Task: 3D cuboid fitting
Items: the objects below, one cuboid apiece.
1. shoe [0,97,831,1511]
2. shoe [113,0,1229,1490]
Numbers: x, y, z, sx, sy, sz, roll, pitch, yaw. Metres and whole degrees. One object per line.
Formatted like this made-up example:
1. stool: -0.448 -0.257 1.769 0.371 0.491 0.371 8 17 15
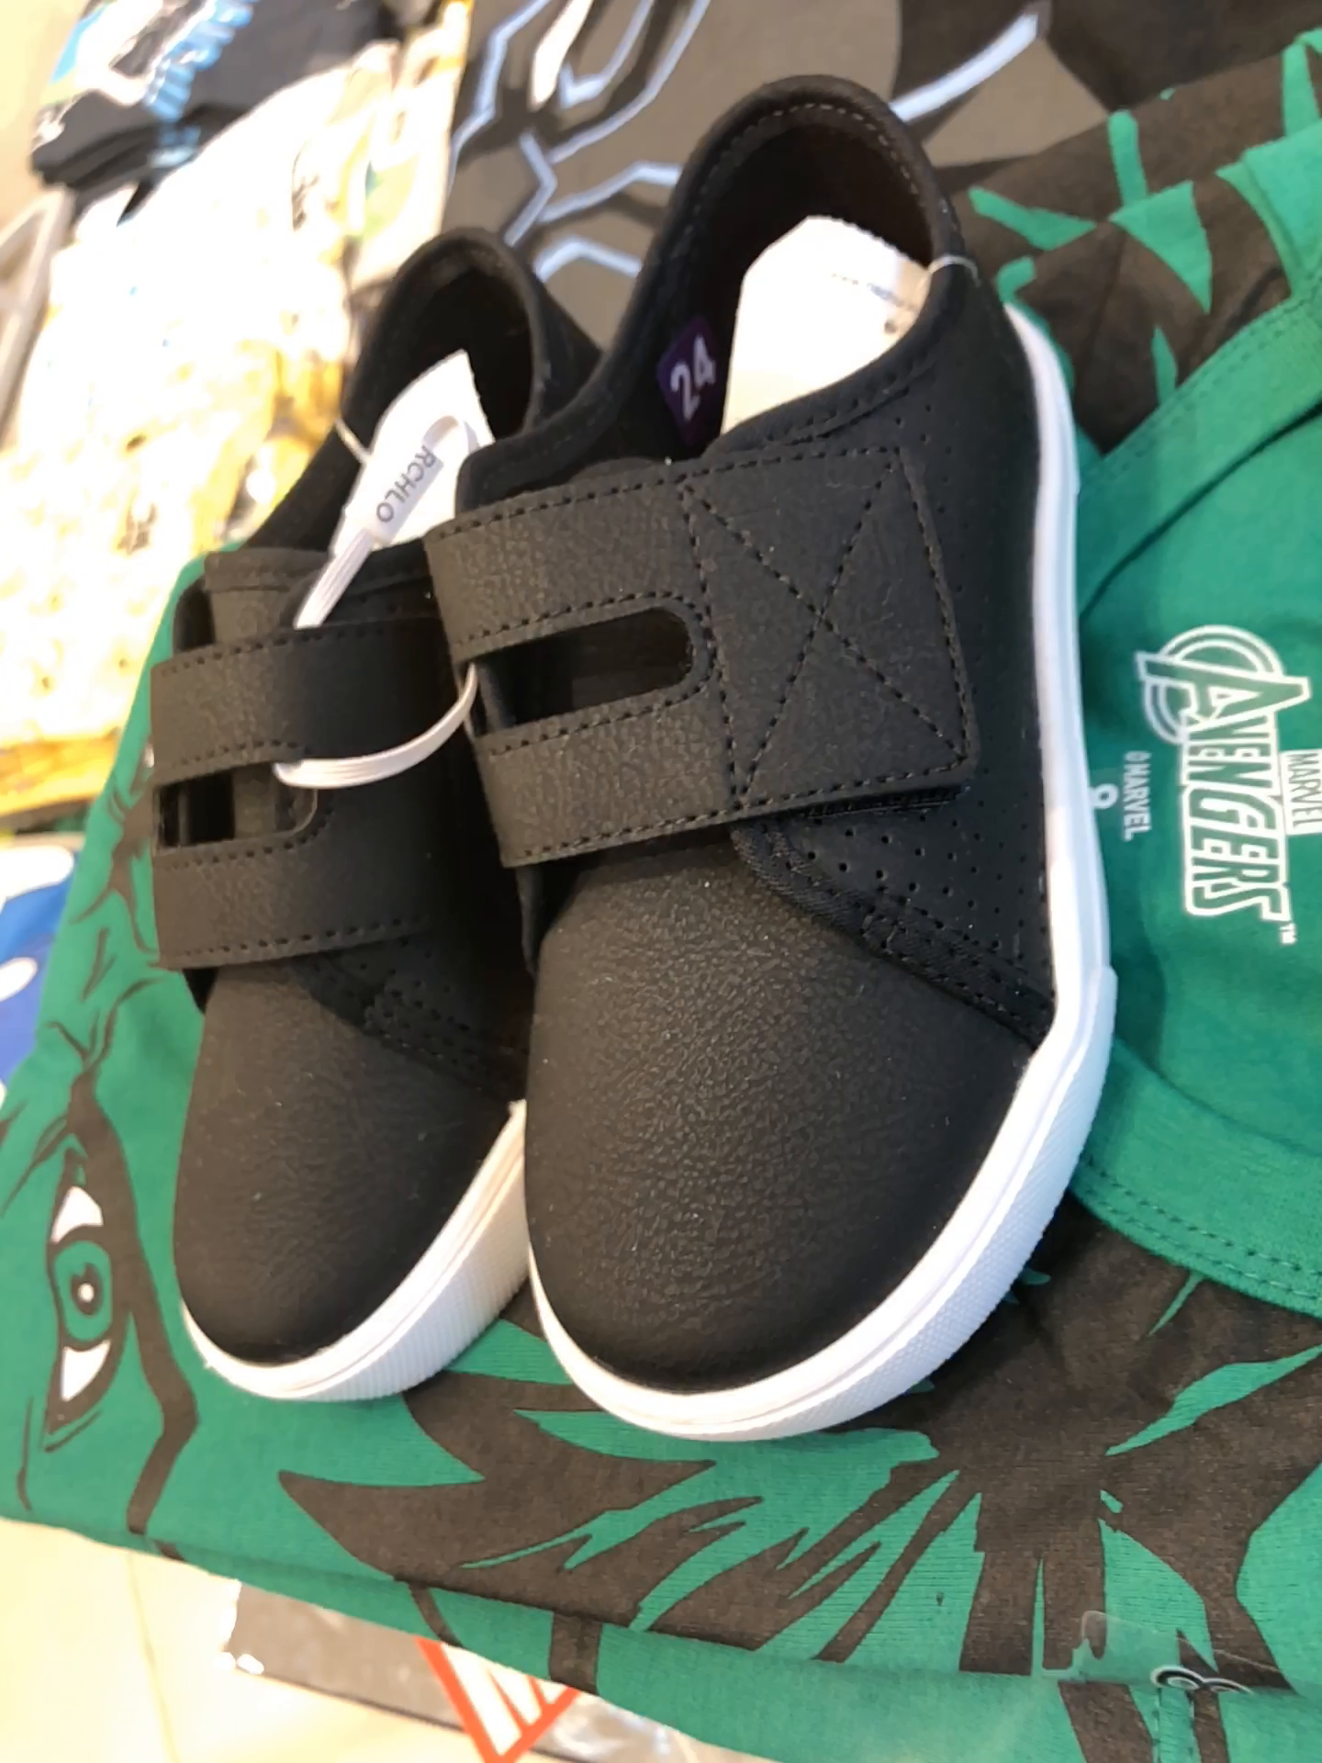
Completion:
1. shoe: -0.045 -0.007 0.223 0.080 0.090 0.170 5 72 31
2. shoe: 0.017 -0.021 0.193 0.090 0.090 0.170 -2 68 28
